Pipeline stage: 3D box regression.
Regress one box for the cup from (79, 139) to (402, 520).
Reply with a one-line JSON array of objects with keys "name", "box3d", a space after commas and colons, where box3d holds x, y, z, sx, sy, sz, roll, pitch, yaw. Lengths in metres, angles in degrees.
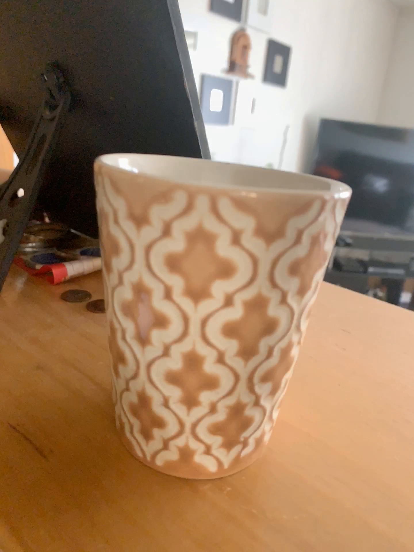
[{"name": "cup", "box3d": [-0.006, 0.005, 0.189, 0.090, 0.109, 0.121, -1, 20, -19]}]
